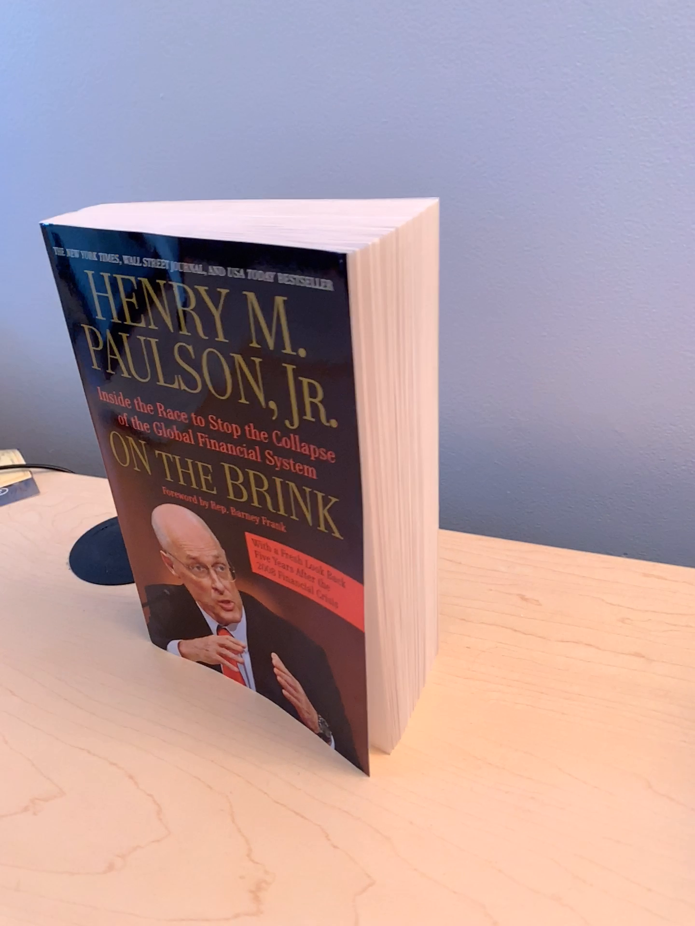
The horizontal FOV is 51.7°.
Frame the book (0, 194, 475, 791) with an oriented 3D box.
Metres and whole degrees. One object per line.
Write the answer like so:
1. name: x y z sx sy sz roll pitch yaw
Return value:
1. book: -0.038 0.008 0.318 0.167 0.228 0.082 9 31 24
